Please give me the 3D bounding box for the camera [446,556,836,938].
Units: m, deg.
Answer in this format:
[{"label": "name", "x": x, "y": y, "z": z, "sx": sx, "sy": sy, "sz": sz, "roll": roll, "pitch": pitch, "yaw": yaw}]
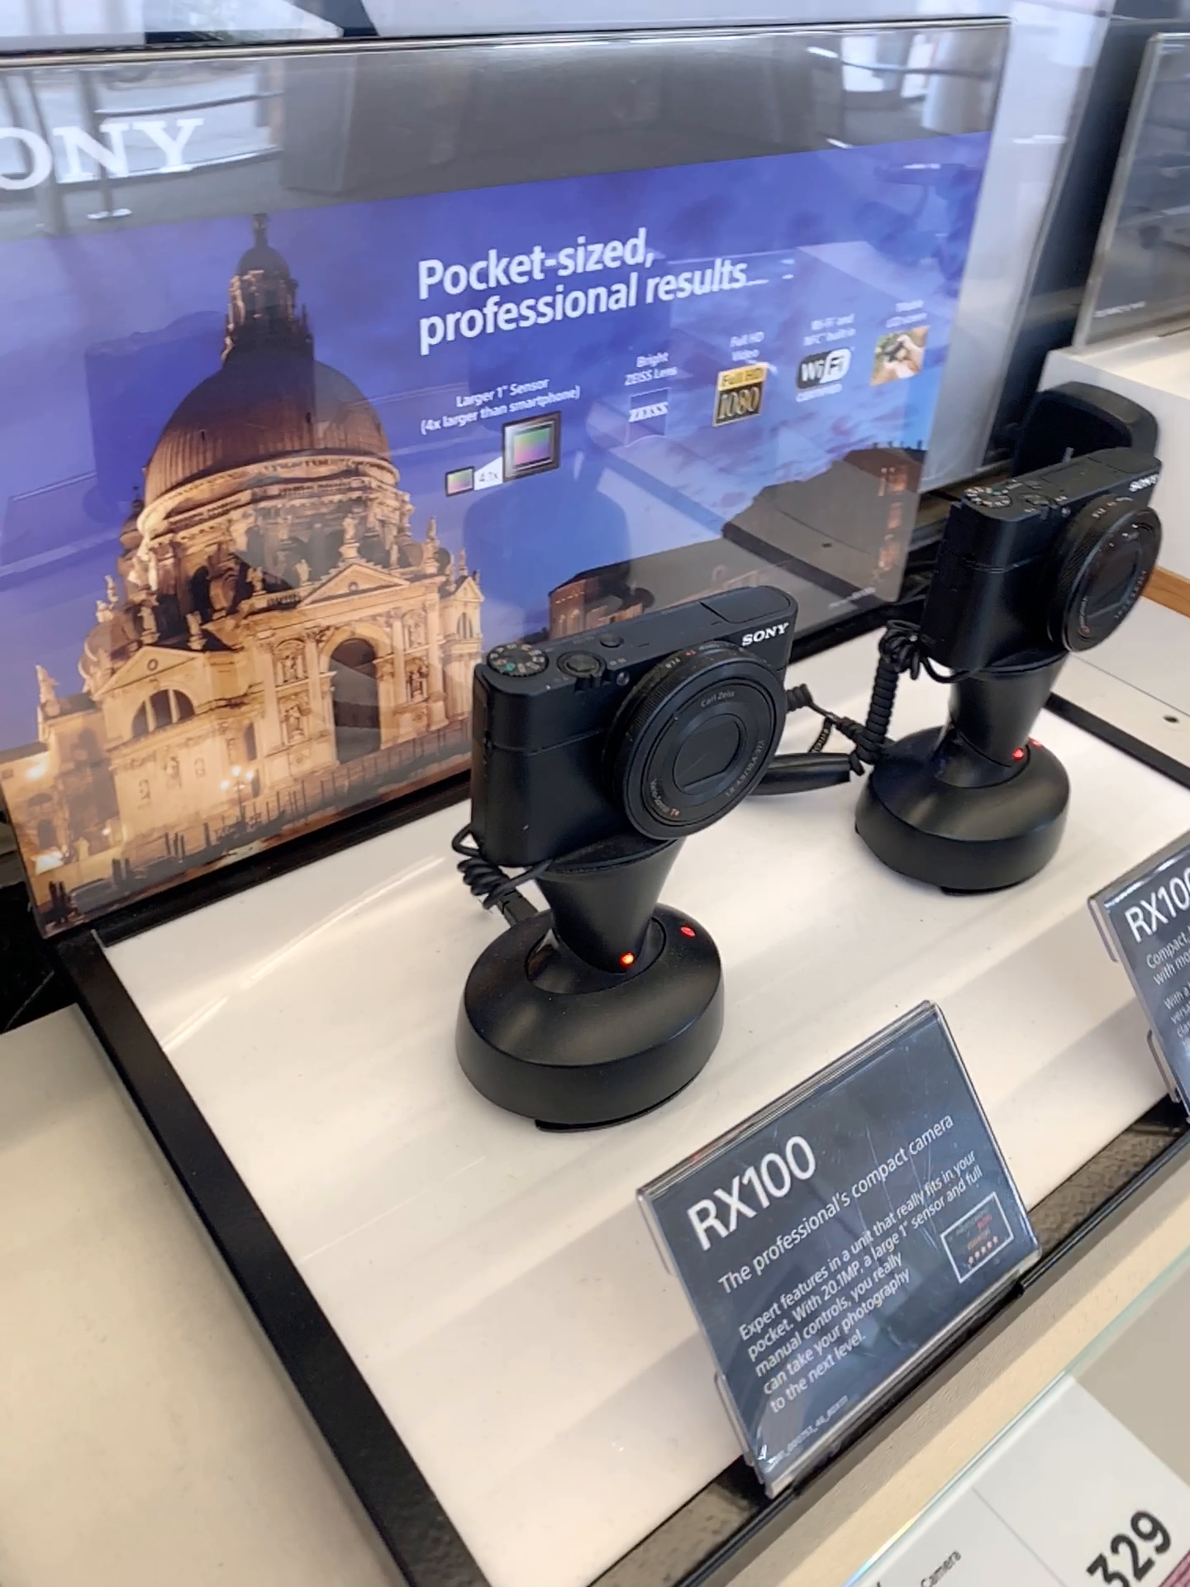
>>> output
[{"label": "camera", "x": 0.012, "y": -0.016, "z": 0.344, "sx": 0.100, "sy": 0.069, "sz": 0.040, "roll": -22, "pitch": 44, "yaw": -30}]
